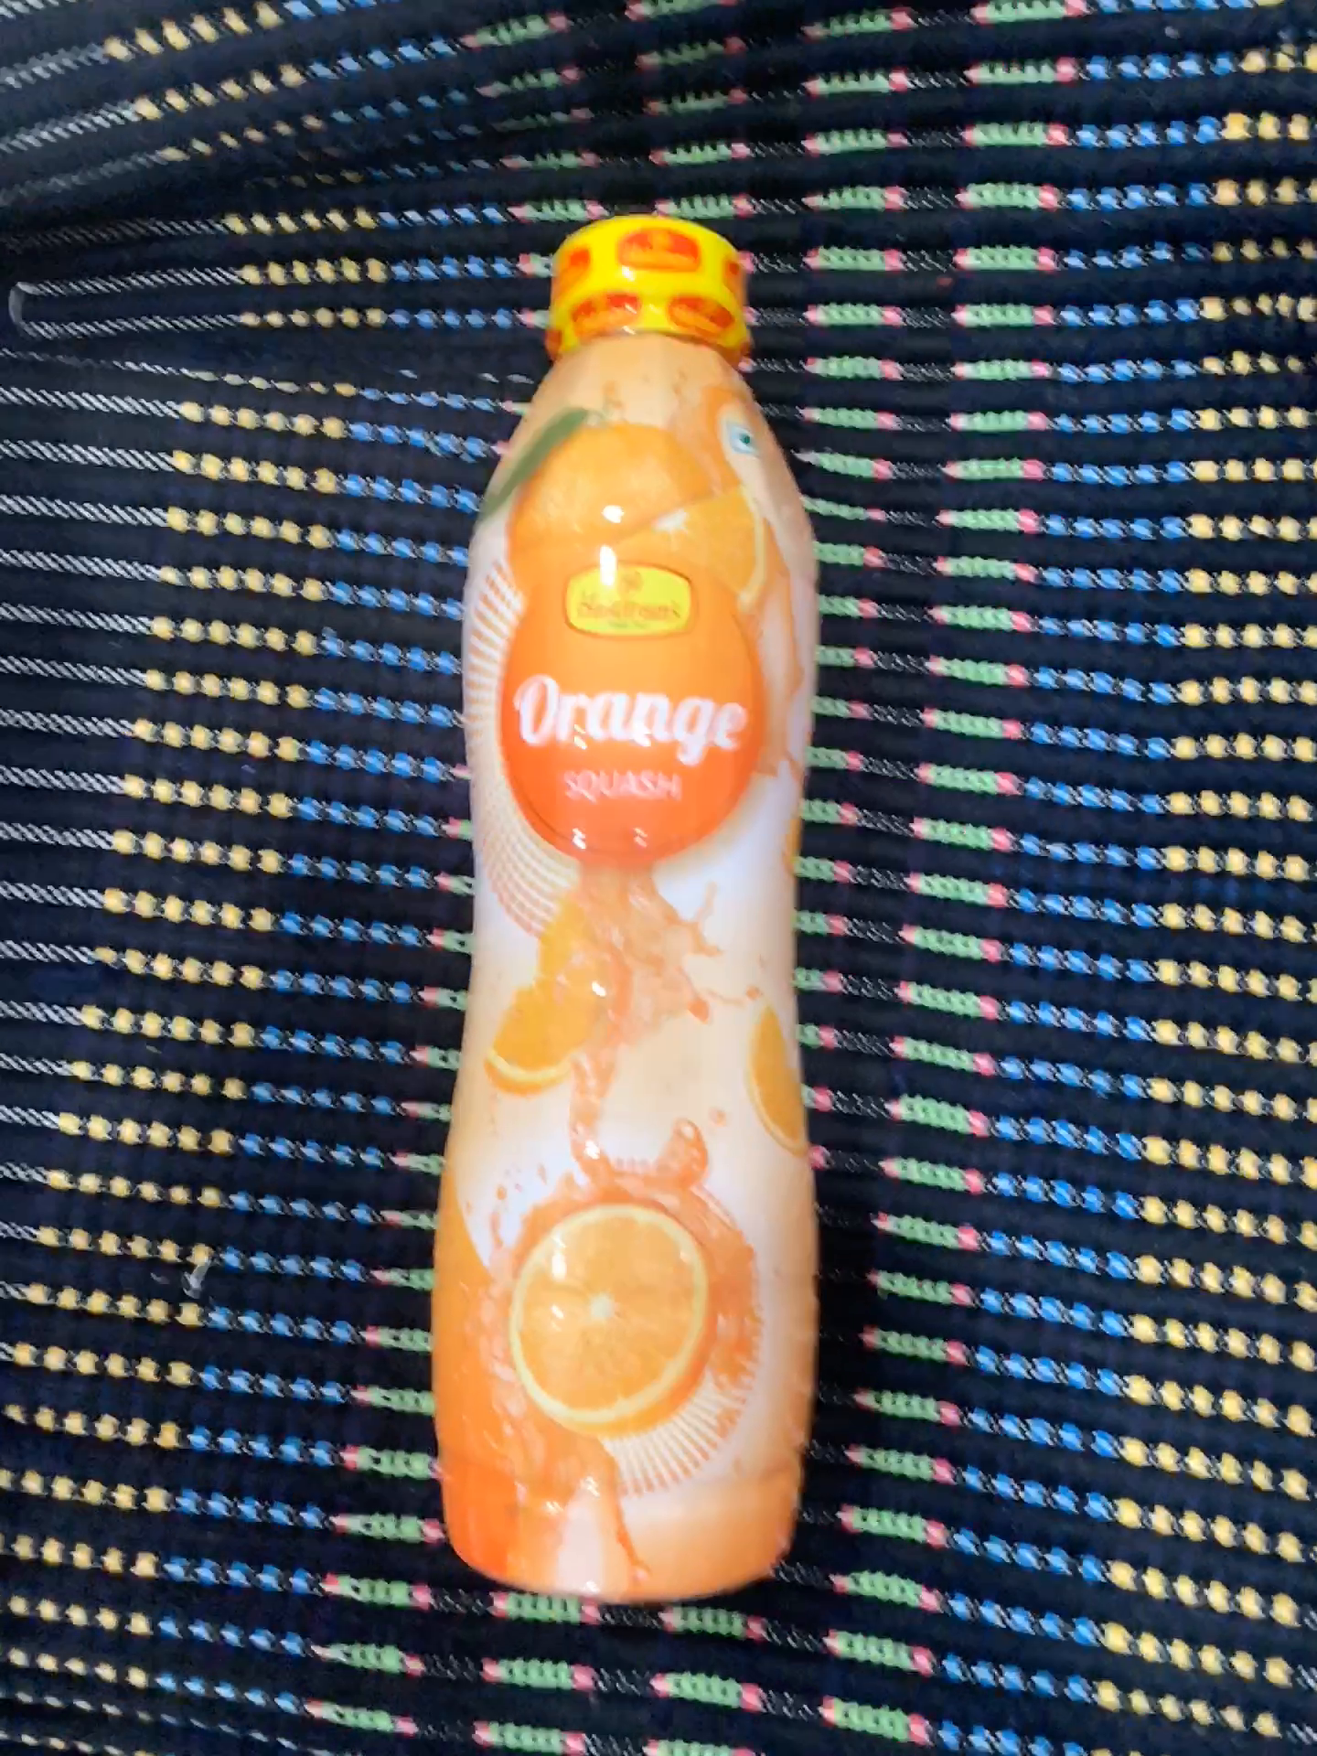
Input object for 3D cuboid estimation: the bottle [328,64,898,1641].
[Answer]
[{"bbox_3d":[-0.002,-0.012,0.244,0.080,0.060,0.250,2,81,3],"label":"bottle"}]
